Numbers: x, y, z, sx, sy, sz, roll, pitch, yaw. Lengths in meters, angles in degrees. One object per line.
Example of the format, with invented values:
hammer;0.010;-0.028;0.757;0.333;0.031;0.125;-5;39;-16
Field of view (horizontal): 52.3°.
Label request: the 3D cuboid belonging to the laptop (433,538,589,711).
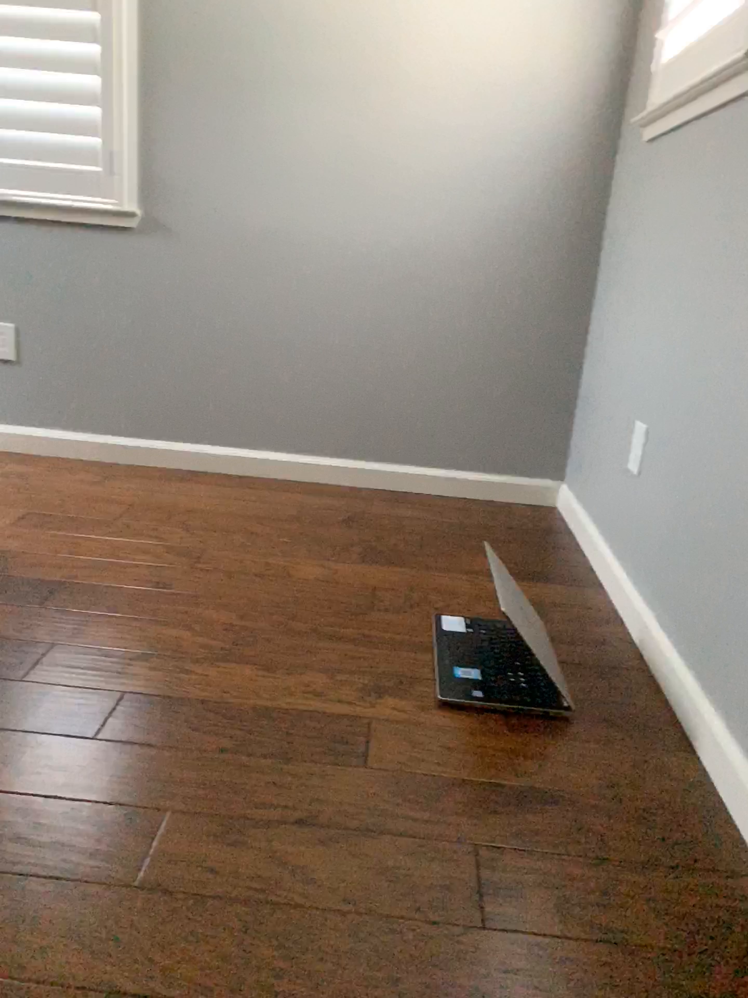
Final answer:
laptop;0.230;0.213;1.380;0.219;0.169;0.318;6;16;1
